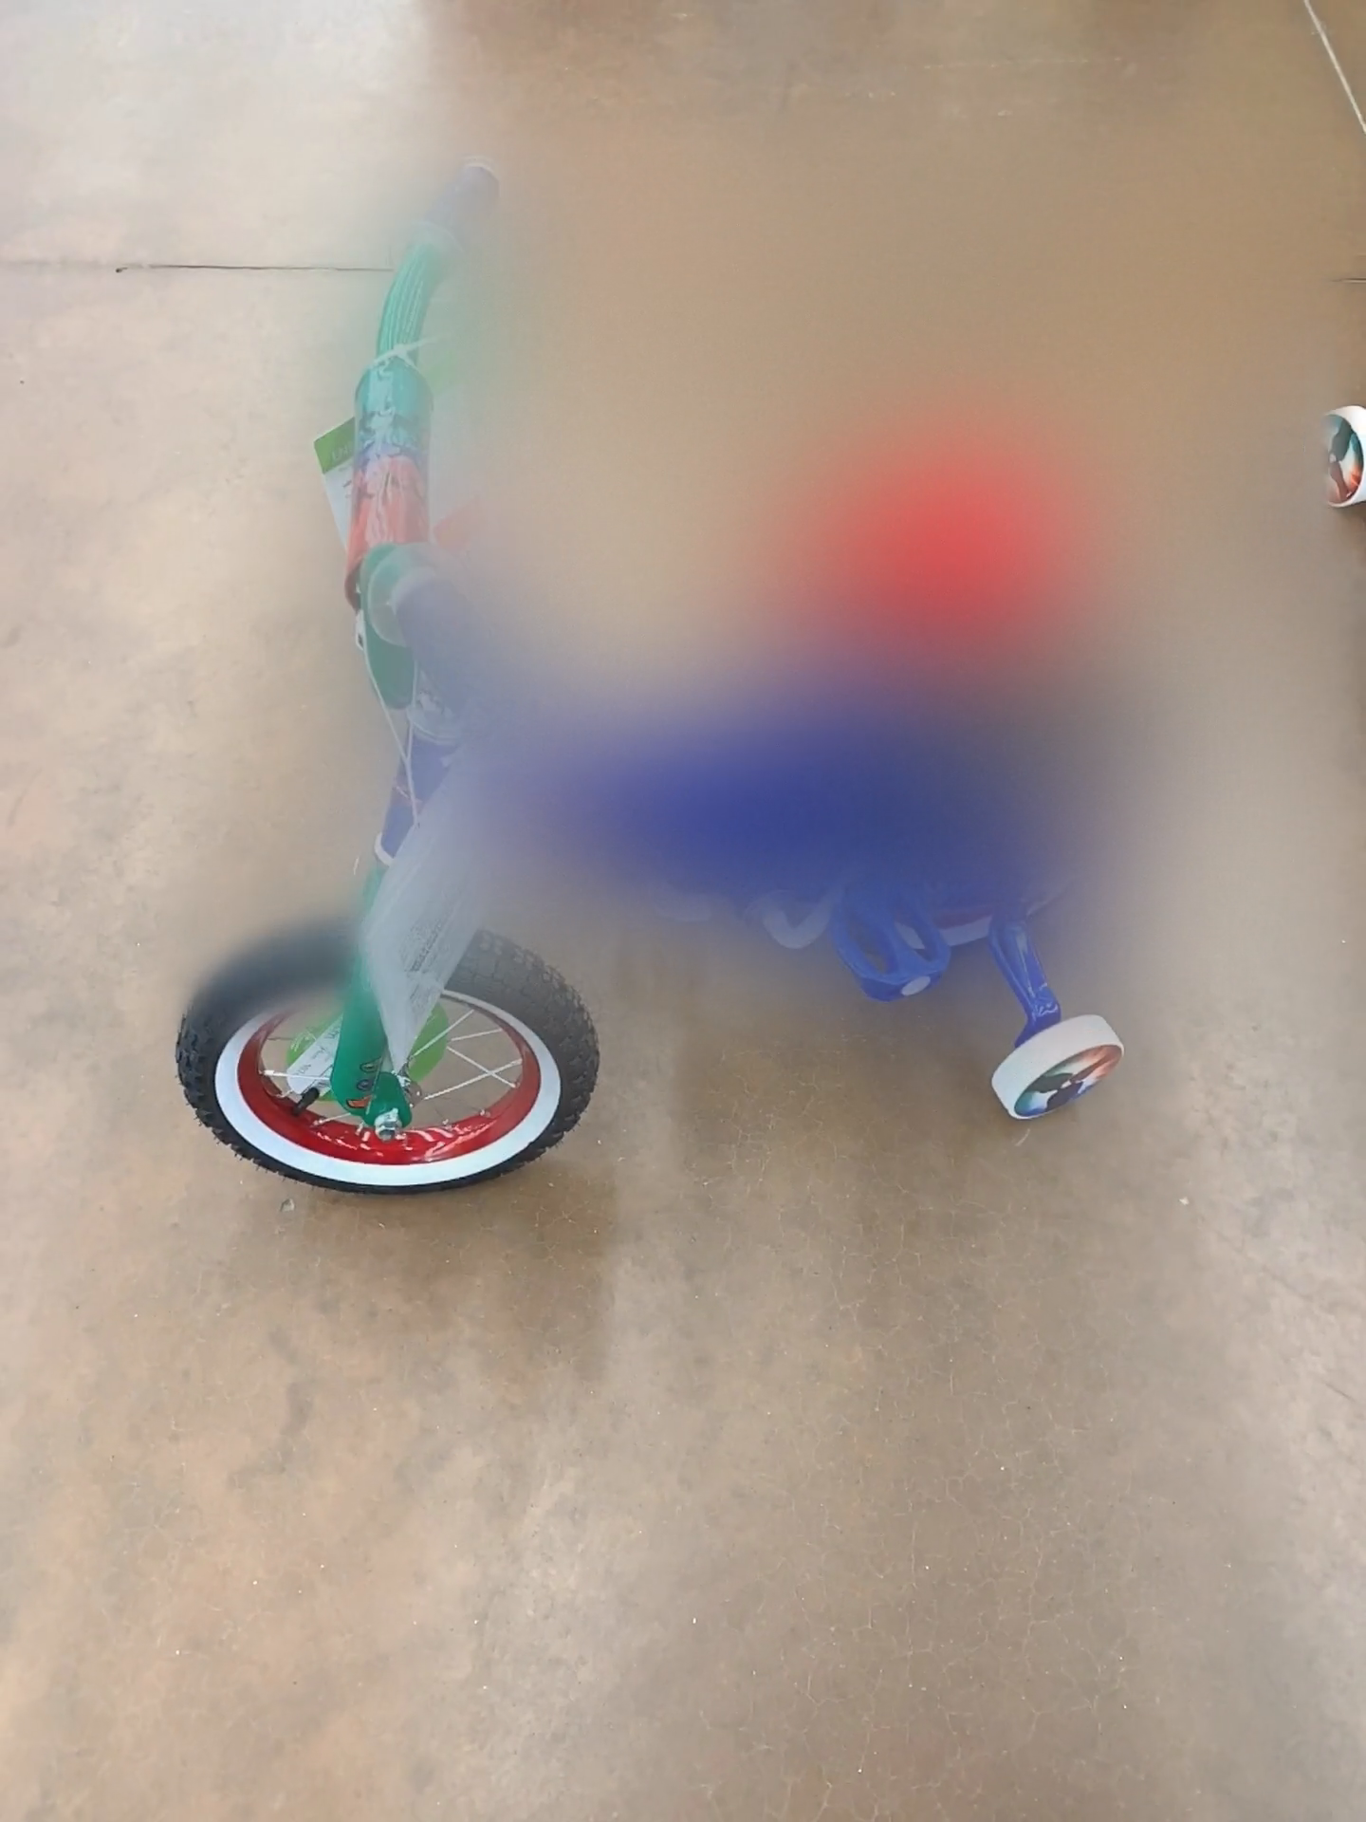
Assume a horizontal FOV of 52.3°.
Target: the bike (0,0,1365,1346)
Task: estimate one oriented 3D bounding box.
[{"bbox_3d":[0.009,-0.144,0.974,0.794,0.695,0.466,-17,57,-11],"label":"bike"}]
